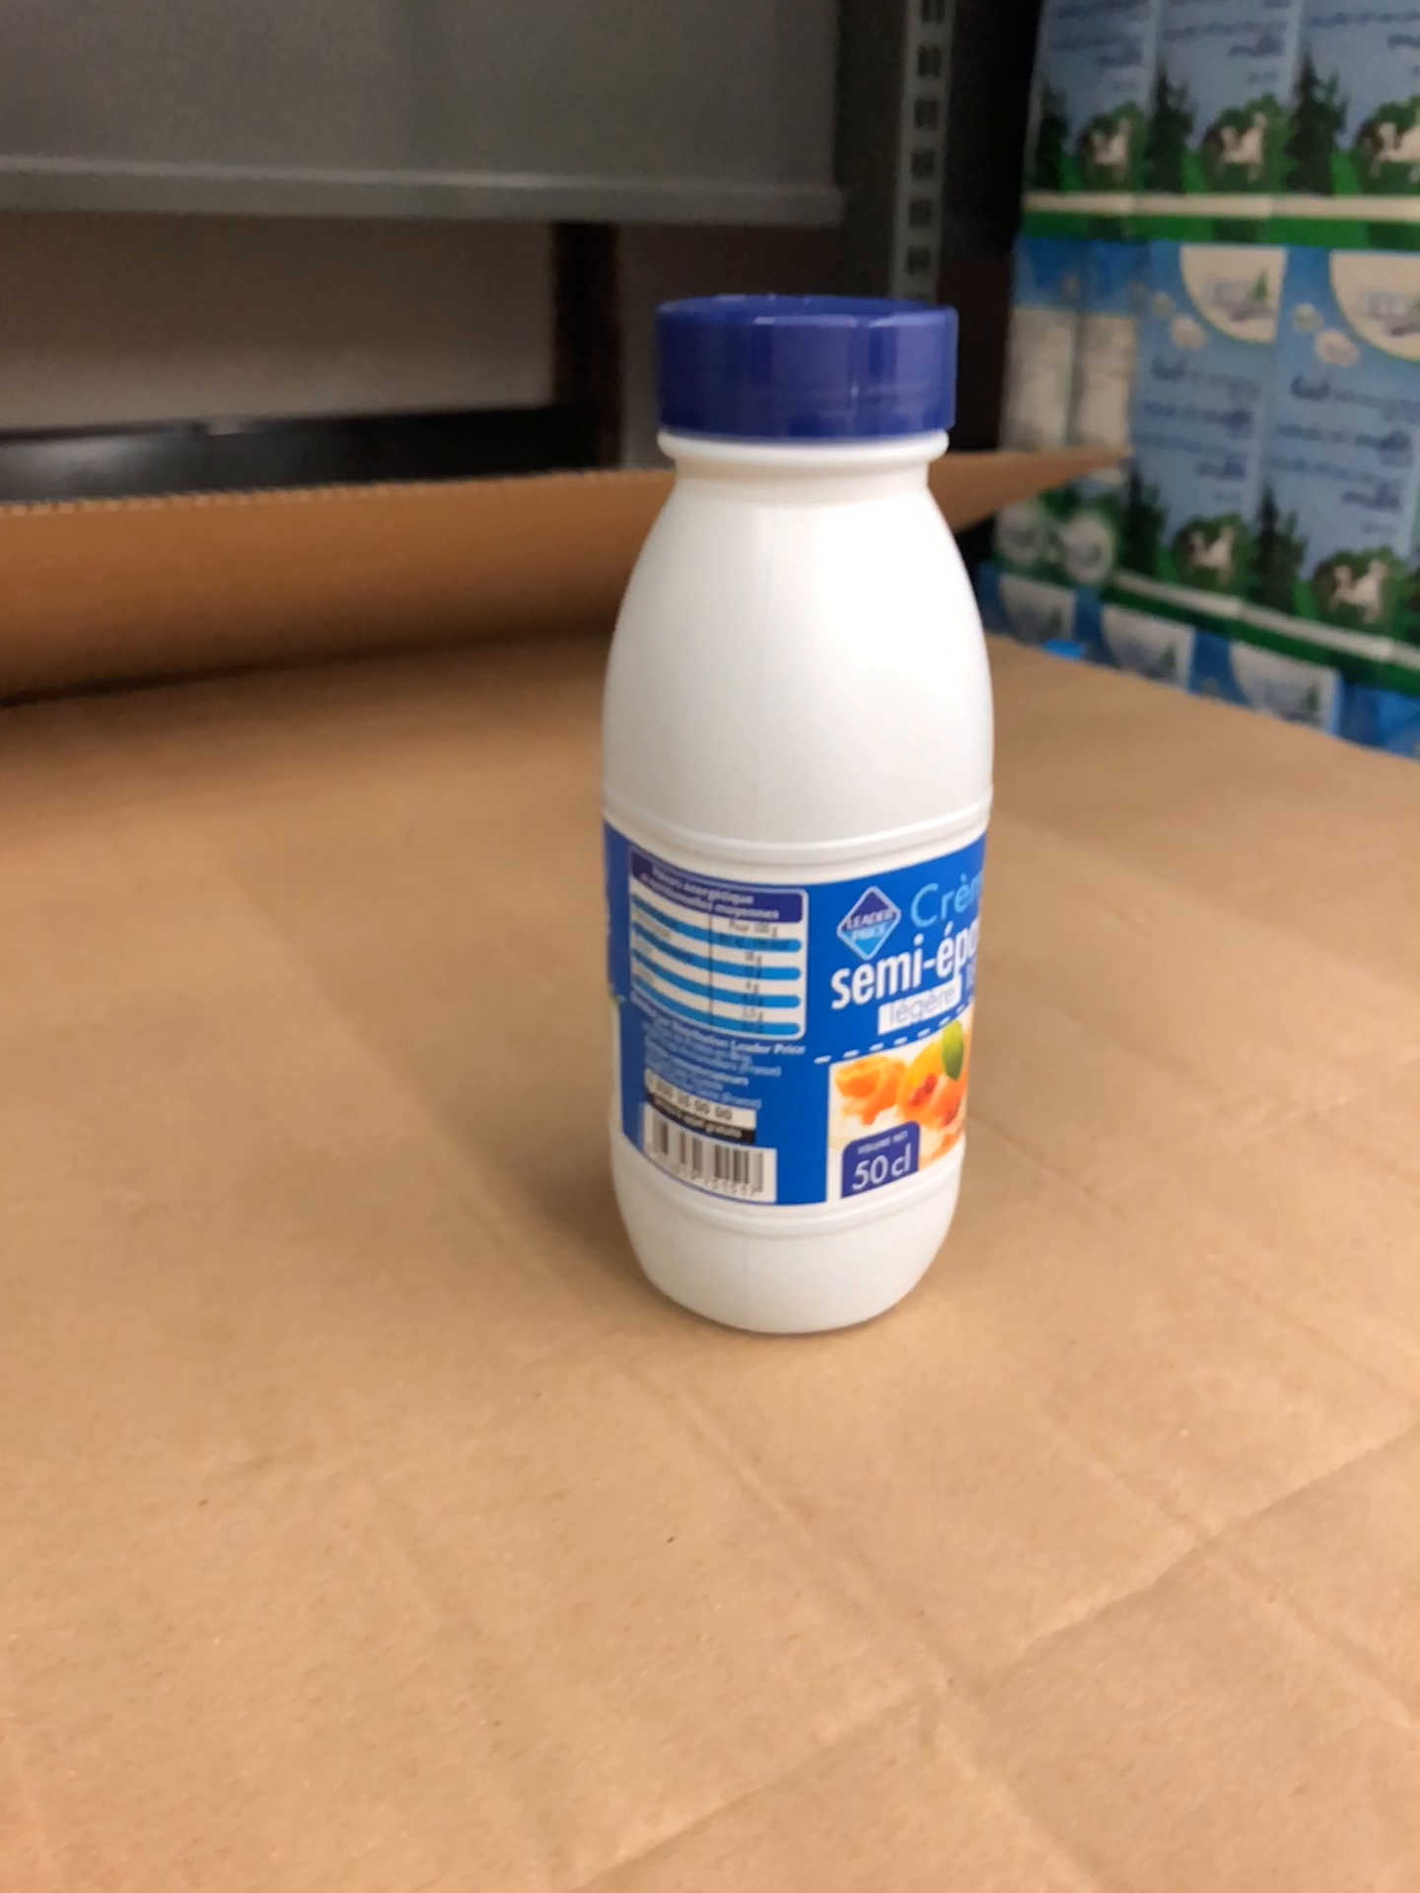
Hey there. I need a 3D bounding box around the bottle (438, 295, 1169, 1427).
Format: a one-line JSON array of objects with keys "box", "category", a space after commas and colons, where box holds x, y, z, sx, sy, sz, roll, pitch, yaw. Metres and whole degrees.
[{"box": [0.013, -0.021, 0.280, 0.080, 0.169, 0.080, 1, 24, 0], "category": "bottle"}]
